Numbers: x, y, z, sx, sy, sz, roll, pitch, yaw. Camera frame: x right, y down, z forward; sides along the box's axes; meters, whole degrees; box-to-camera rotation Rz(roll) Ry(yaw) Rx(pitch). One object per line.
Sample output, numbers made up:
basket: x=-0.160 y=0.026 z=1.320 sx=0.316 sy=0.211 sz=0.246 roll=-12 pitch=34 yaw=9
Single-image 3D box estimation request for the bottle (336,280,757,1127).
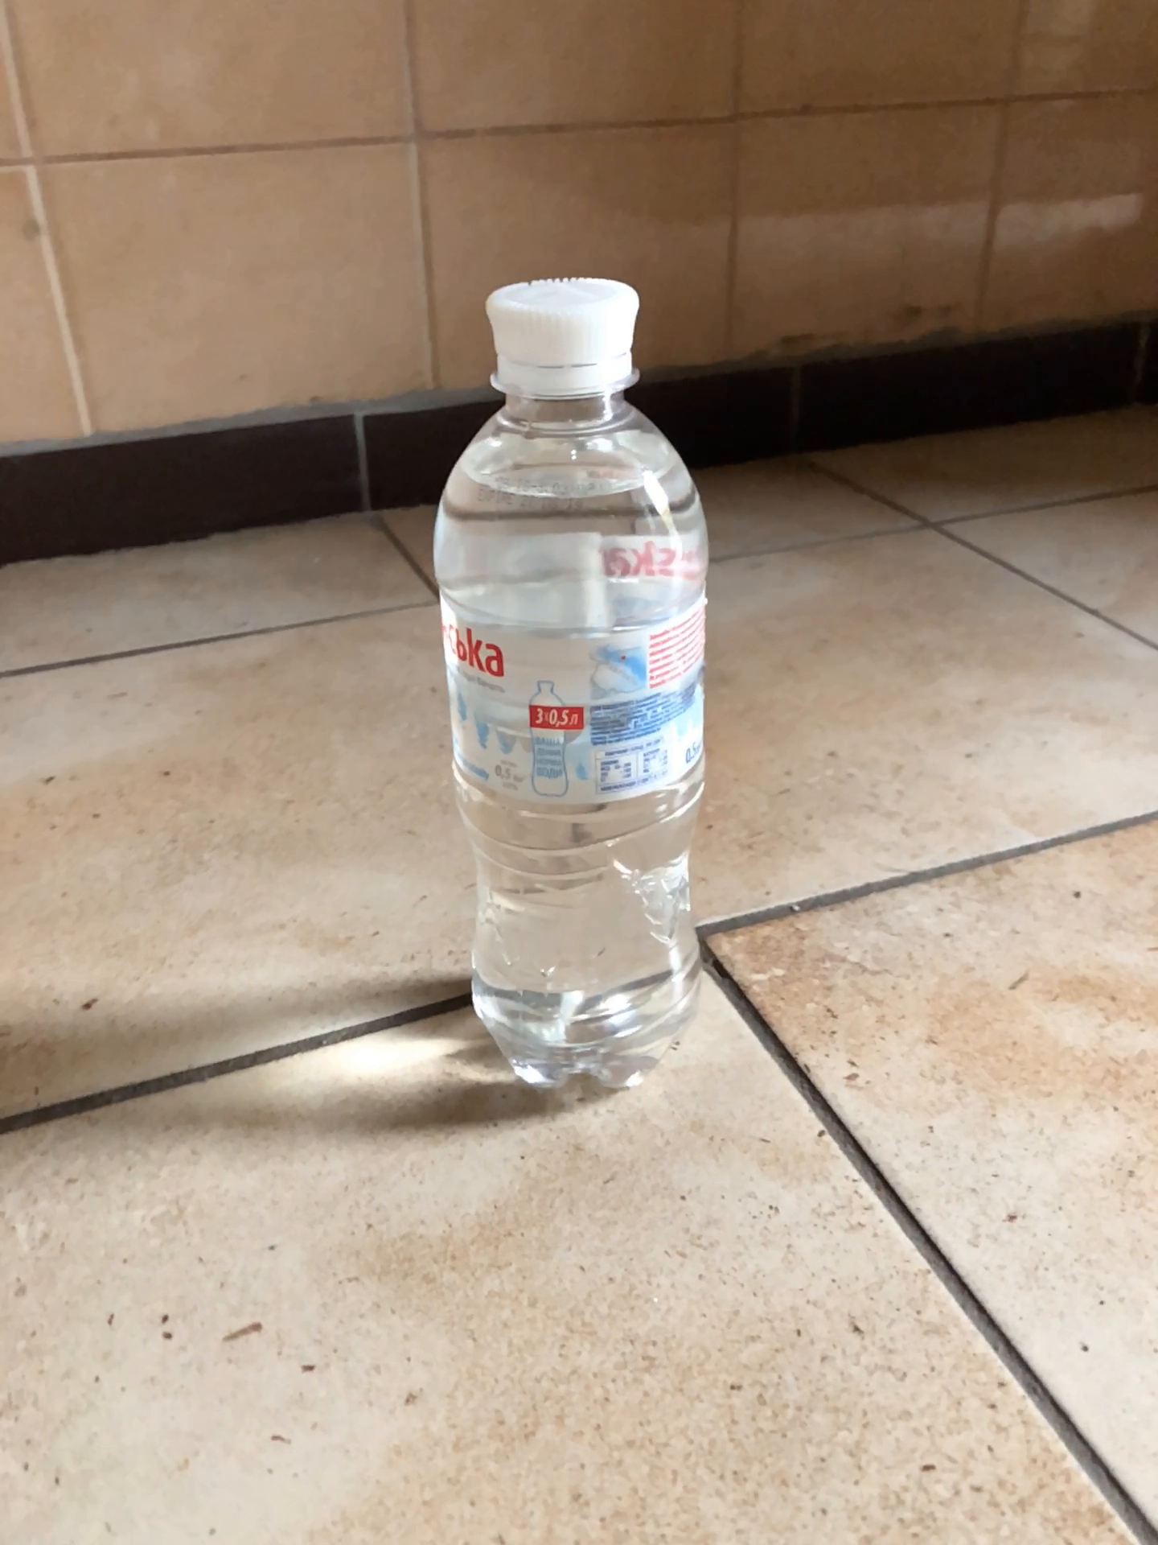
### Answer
bottle: x=-0.005 y=-0.013 z=0.327 sx=0.080 sy=0.199 sz=0.081 roll=-1 pitch=30 yaw=1
